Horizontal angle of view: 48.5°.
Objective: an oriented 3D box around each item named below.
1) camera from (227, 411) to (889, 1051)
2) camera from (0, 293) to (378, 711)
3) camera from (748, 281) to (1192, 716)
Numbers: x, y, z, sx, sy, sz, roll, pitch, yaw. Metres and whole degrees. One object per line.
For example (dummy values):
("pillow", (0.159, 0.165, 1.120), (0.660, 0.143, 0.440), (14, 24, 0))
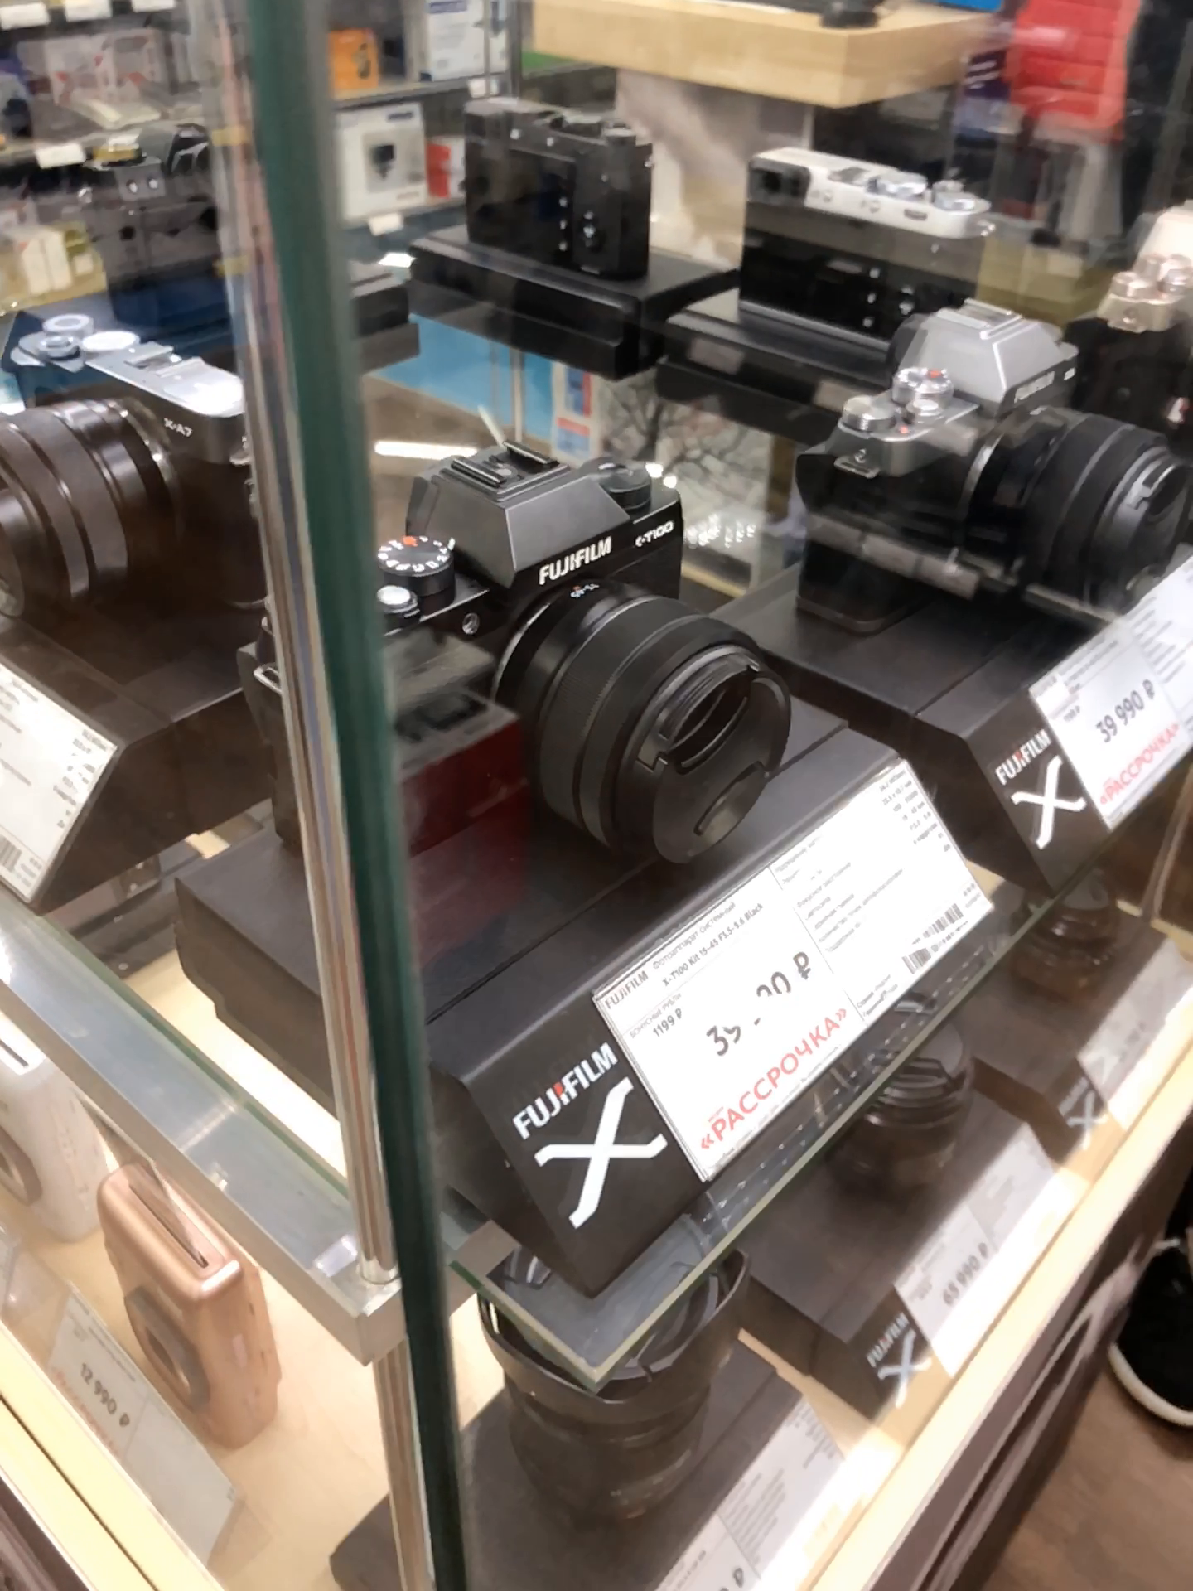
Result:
("camera", (-0.008, -0.024, 0.331), (0.095, 0.089, 0.120), (31, 46, 33))
("camera", (-0.149, -0.098, 0.414), (0.120, 0.069, 0.100), (28, 44, 31))
("camera", (0.128, -0.101, 0.420), (0.099, 0.078, 0.120), (30, 45, 32))
